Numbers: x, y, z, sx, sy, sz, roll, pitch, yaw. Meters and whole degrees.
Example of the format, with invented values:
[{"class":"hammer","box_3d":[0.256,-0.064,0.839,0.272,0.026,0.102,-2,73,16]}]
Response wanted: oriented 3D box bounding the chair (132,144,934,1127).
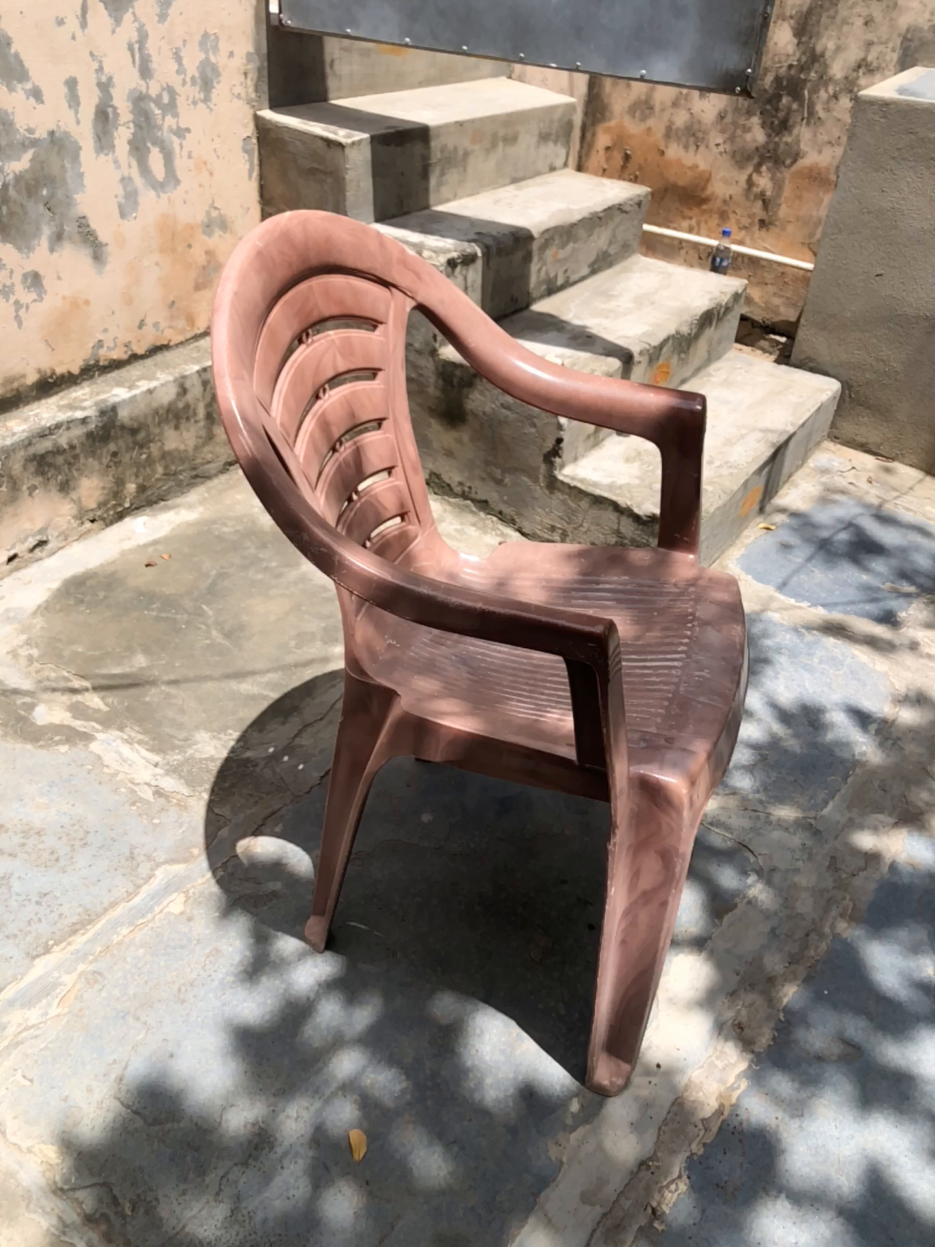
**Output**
[{"class":"chair","box_3d":[0.083,-0.019,1.112,0.540,0.766,0.584,14,36,12]}]
